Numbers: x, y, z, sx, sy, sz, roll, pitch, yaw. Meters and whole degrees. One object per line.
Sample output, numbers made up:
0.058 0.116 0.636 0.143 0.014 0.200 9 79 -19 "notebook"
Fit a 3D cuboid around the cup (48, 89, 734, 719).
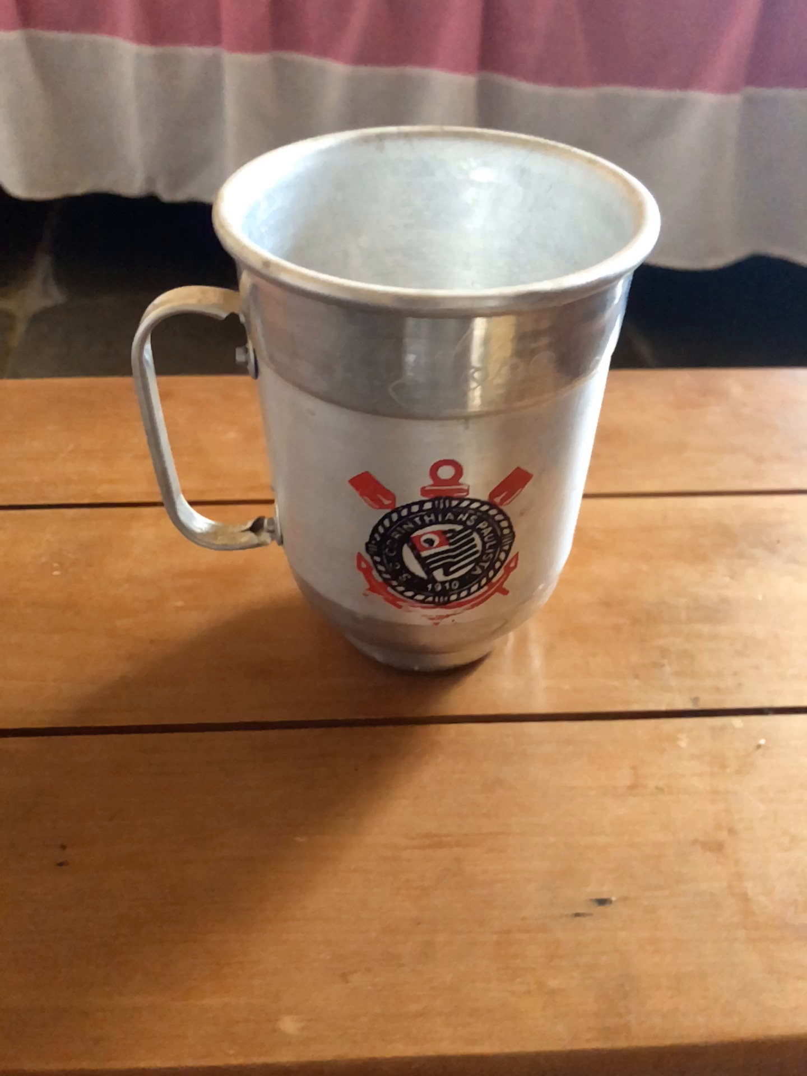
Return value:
-0.003 -0.033 0.238 0.120 0.129 0.101 0 41 -1 "cup"
